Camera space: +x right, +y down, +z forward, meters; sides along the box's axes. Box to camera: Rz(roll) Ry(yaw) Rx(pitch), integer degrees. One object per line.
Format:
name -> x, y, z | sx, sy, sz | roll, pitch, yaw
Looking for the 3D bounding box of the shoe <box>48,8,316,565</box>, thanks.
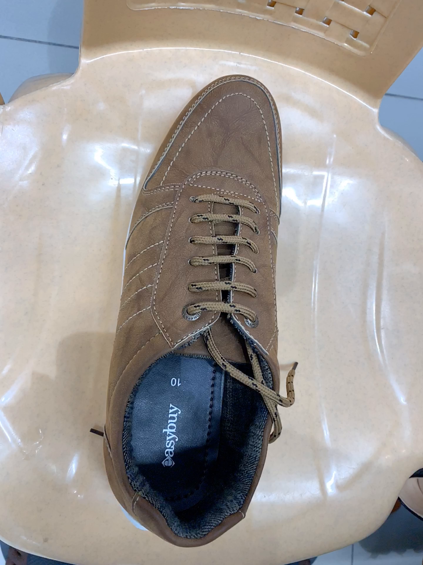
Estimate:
shoe -> -0.011, 0.000, 0.286 | 0.100, 0.100, 0.310 | 10, 76, -8
